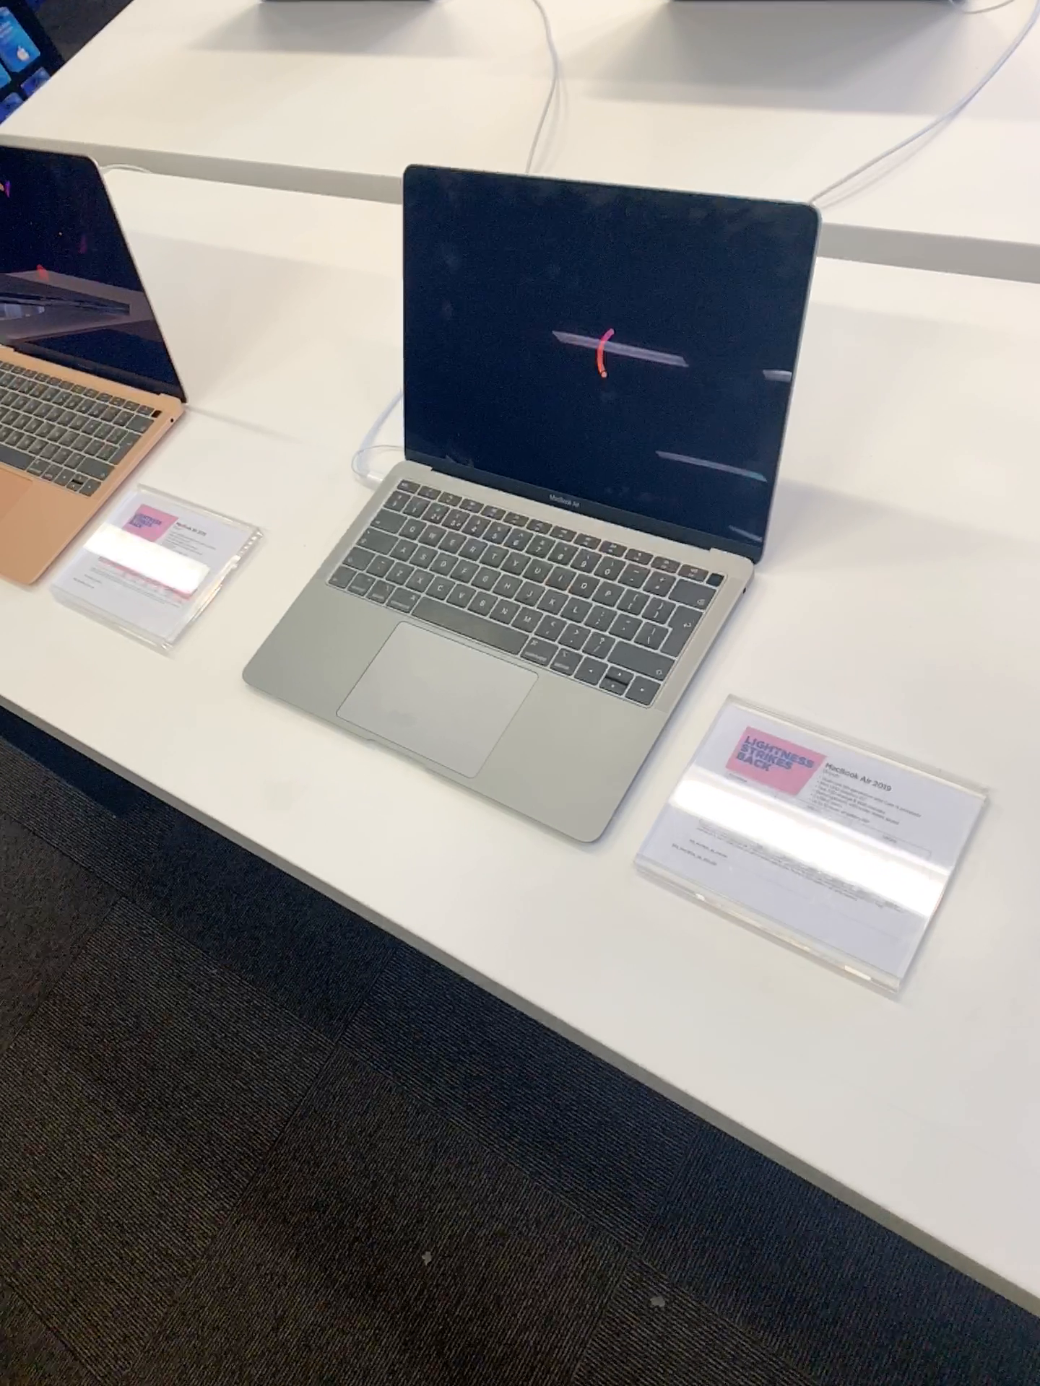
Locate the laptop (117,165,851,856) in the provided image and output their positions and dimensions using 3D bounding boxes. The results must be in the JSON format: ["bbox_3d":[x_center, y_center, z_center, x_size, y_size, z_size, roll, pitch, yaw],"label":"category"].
[{"bbox_3d":[-0.006,-0.131,0.648,0.290,0.160,0.329,22,68,30],"label":"laptop"}]
